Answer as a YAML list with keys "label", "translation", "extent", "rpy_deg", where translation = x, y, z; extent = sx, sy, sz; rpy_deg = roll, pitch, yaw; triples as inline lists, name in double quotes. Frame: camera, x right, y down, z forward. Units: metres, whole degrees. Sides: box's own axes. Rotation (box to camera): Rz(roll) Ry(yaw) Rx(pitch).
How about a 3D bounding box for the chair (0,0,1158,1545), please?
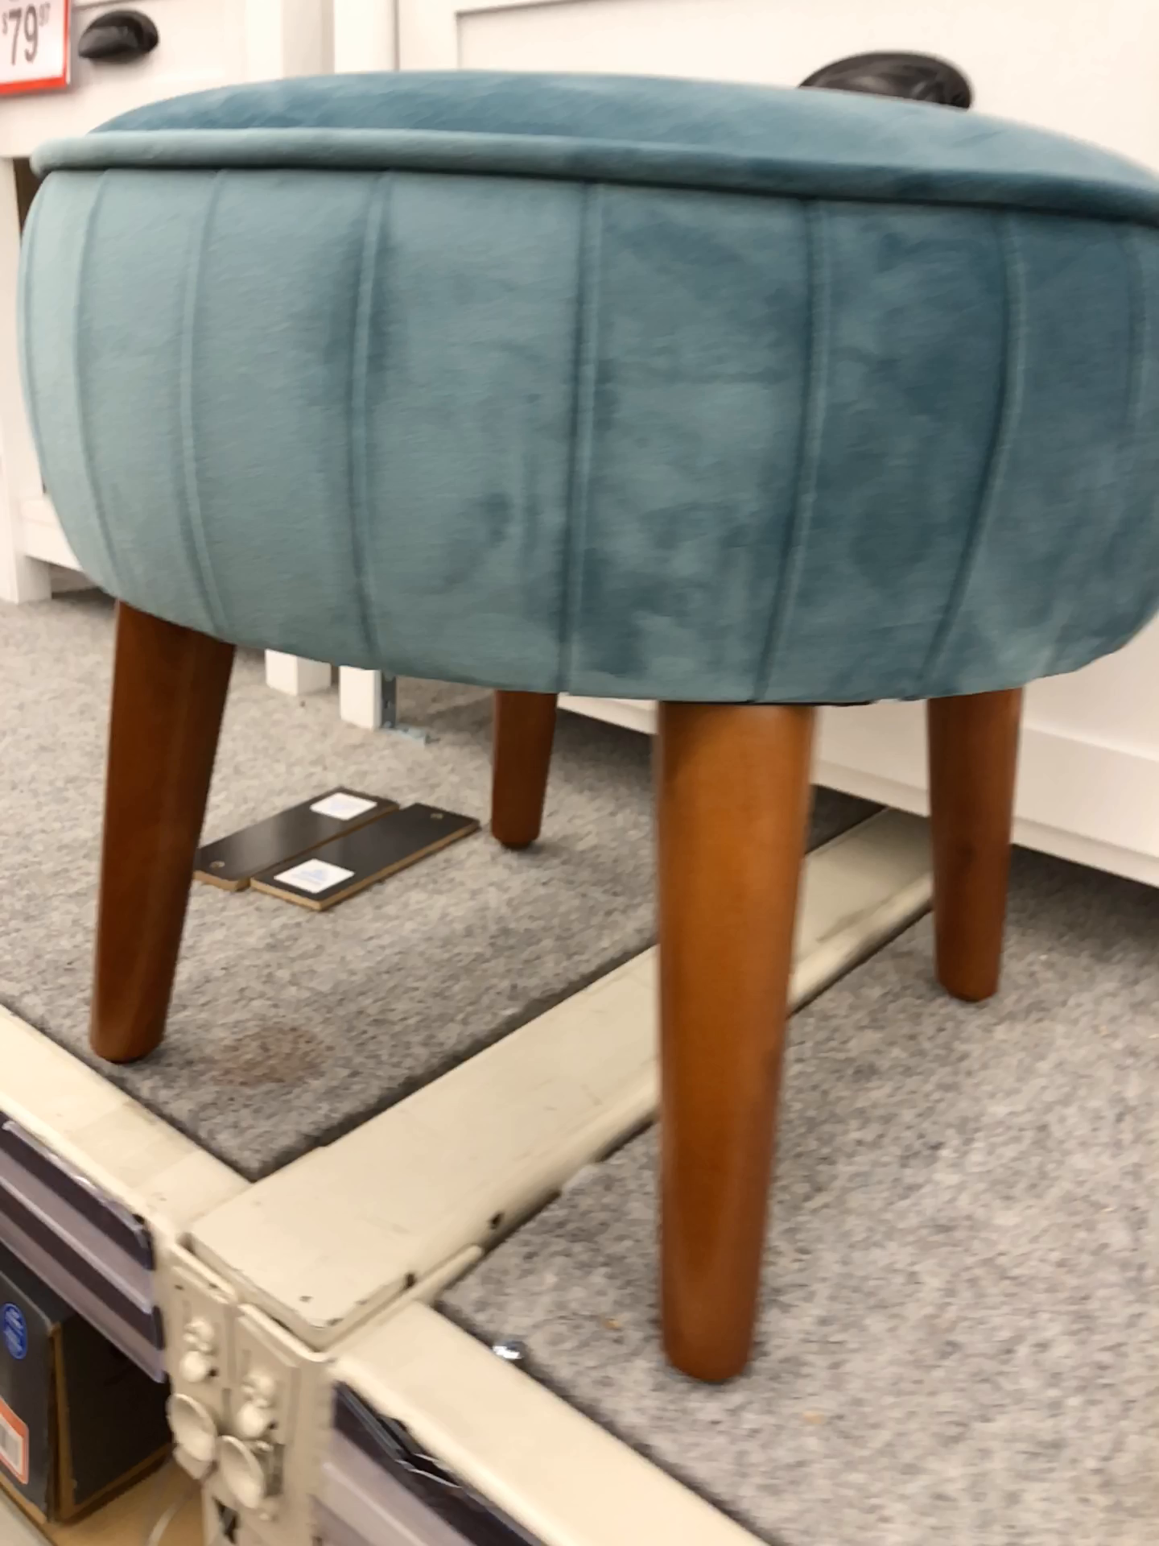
- label: "chair"
  translation: [0.031, -0.067, 0.532]
  extent: [0.370, 0.399, 0.371]
  rpy_deg: [18, 25, 36]
